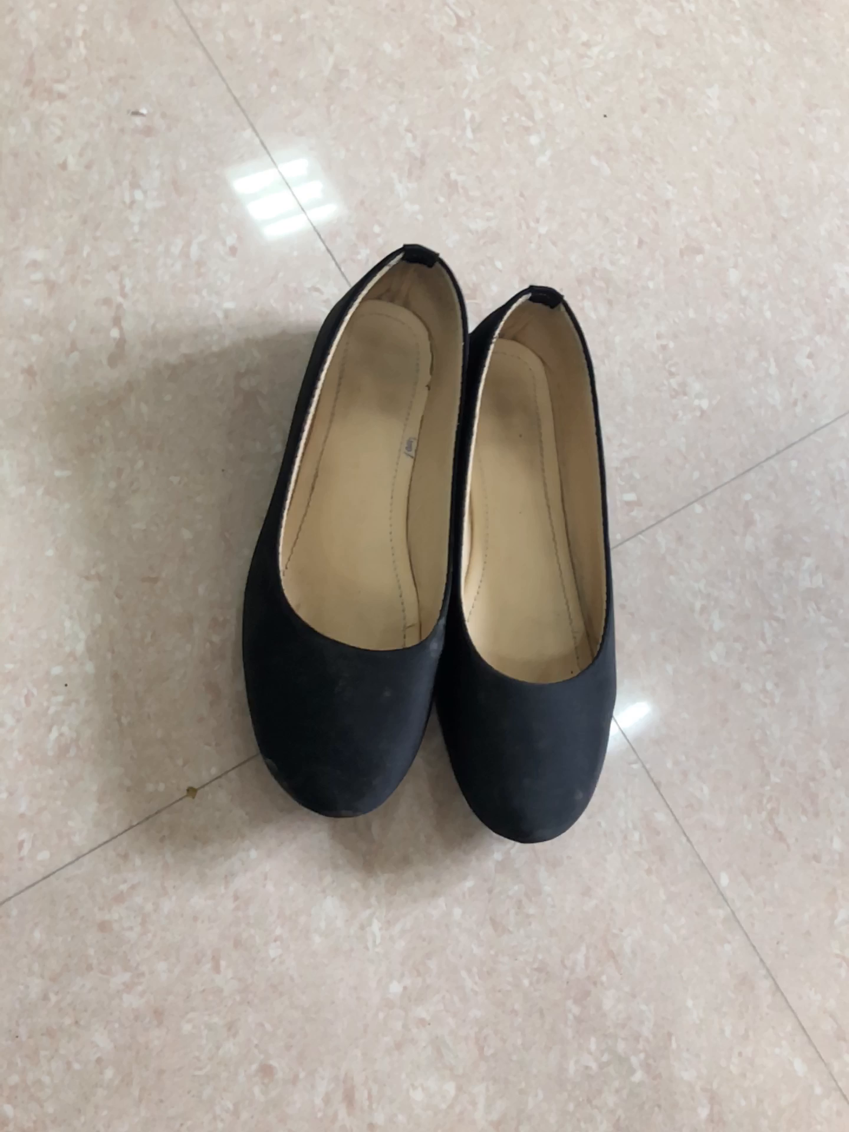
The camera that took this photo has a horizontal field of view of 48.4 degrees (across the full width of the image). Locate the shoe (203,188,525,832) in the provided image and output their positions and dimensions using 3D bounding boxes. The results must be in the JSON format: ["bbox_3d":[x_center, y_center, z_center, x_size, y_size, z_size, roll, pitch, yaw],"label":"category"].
[{"bbox_3d":[-0.023,-0.023,0.399,0.090,0.060,0.250,12,74,-13],"label":"shoe"}]

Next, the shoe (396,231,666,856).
[{"bbox_3d":[0.043,-0.008,0.405,0.090,0.060,0.250,5,75,-16],"label":"shoe"}]
